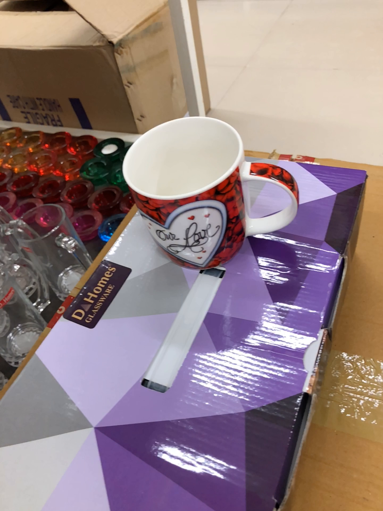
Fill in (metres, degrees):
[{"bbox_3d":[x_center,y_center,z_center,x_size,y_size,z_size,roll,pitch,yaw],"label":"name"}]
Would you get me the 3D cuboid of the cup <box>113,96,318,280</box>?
[{"bbox_3d":[0.028,-0.051,0.330,0.130,0.099,0.091,2,49,15],"label":"cup"}]
